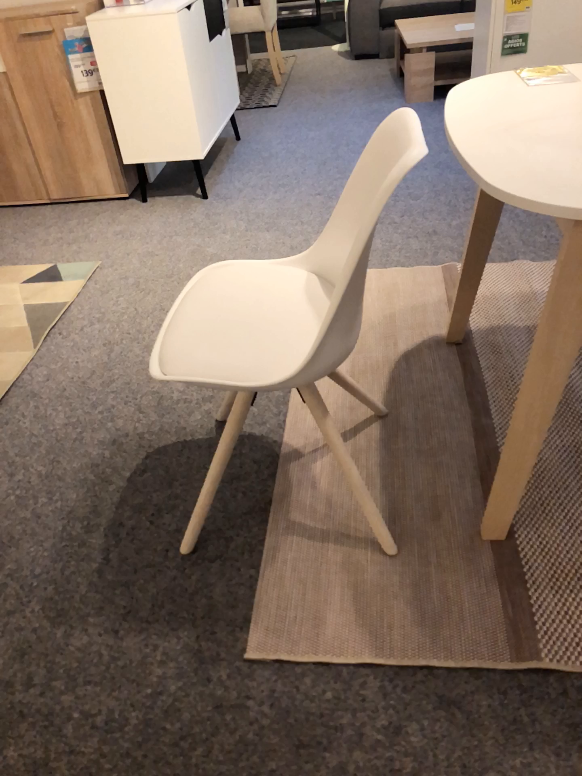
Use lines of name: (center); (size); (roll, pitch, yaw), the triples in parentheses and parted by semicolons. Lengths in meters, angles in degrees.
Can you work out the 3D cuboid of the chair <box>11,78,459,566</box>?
chair: (-0.022, -0.117, 1.260); (0.590, 0.756, 0.553); (-1, 37, 8)
